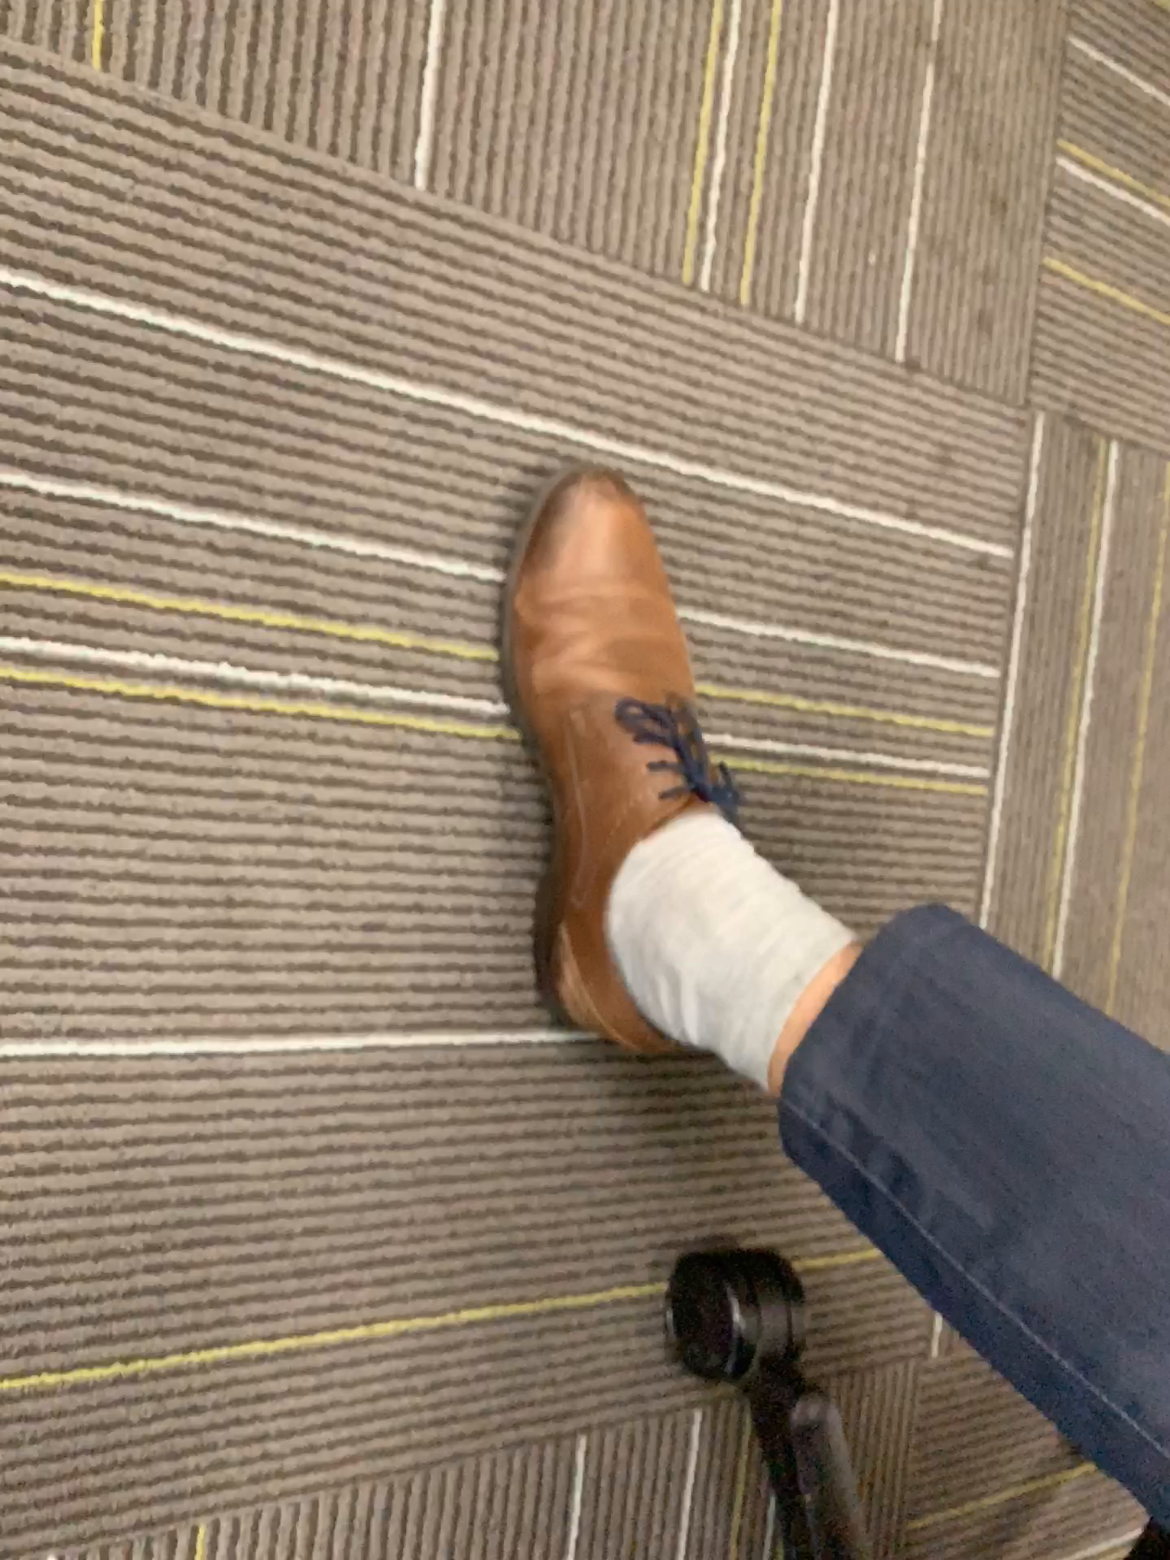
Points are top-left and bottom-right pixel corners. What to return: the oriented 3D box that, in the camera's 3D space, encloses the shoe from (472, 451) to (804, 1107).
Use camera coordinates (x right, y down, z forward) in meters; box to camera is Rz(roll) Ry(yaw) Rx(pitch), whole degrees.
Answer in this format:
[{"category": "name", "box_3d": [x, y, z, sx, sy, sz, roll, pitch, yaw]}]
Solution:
[{"category": "shoe", "box_3d": [0.027, -0.005, 0.561, 0.112, 0.068, 0.276, -10, 99, -30]}]
